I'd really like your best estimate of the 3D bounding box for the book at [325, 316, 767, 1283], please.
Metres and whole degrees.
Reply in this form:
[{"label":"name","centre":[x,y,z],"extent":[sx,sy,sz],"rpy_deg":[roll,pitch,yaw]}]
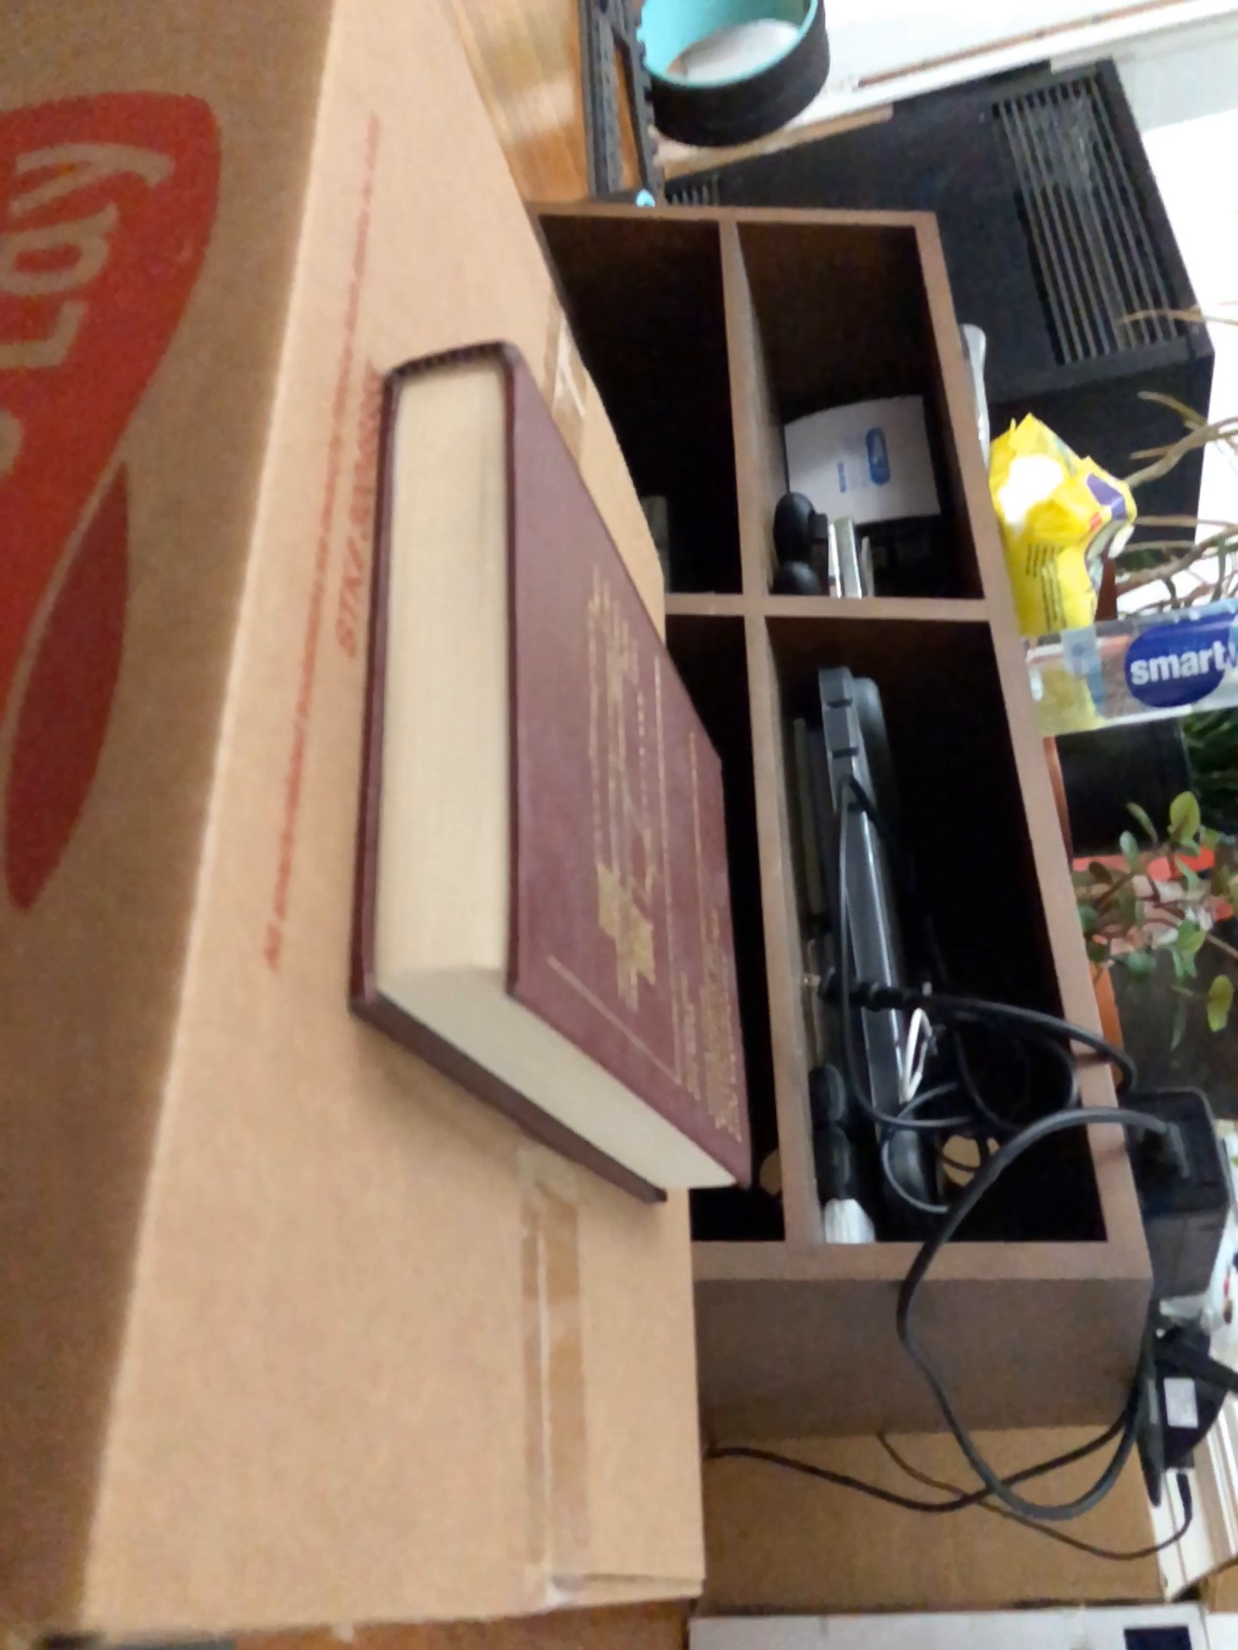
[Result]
[{"label":"book","centre":[-0.006,0.016,0.390],"extent":[0.240,0.040,0.190],"rpy_deg":[57,27,-60]}]
